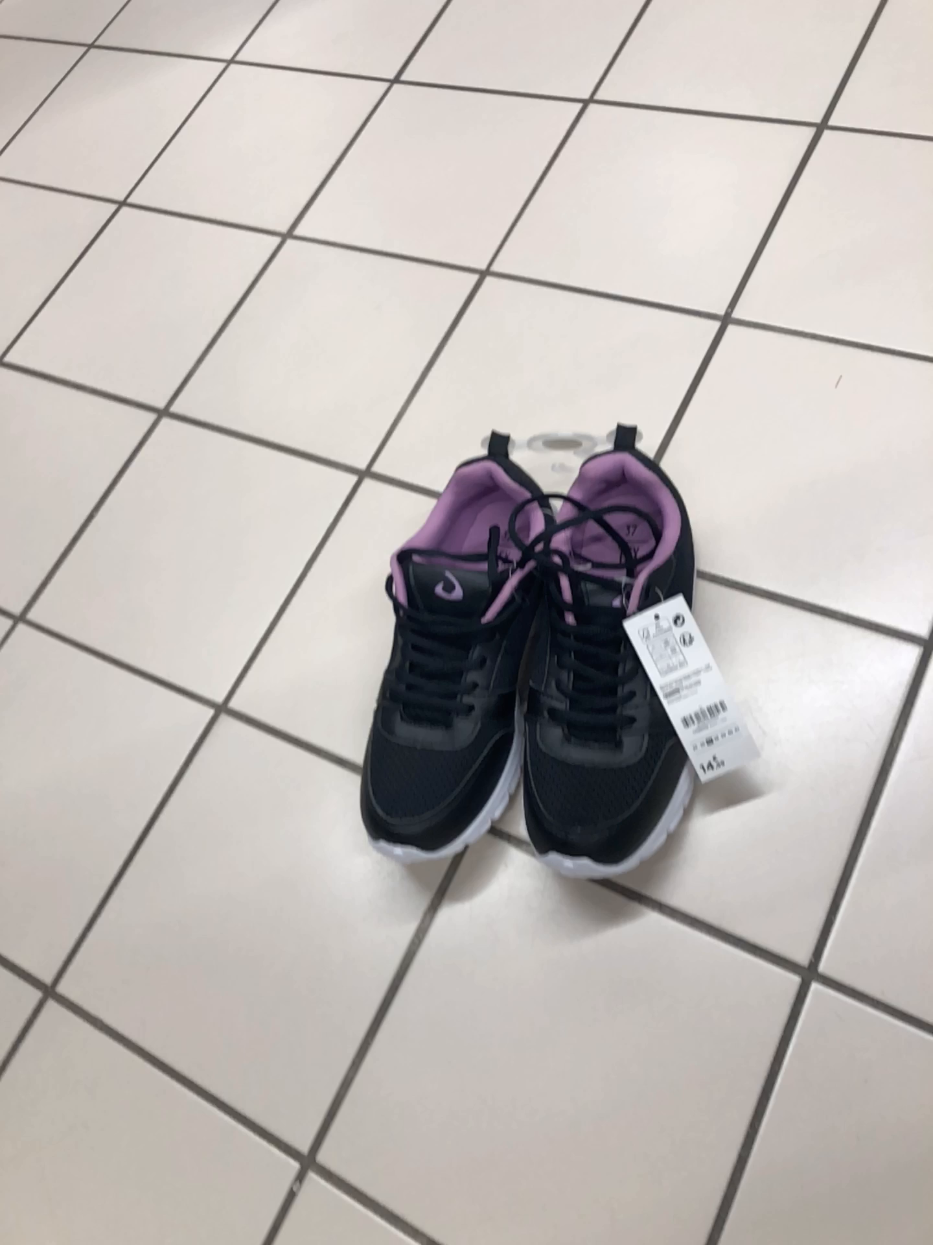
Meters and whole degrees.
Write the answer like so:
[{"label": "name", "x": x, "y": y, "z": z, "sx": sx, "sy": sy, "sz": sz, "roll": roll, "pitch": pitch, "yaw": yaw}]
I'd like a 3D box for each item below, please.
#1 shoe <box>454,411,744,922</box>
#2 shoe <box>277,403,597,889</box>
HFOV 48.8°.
[{"label": "shoe", "x": 0.083, "y": 0.018, "z": 0.576, "sx": 0.110, "sy": 0.090, "sz": 0.261, "roll": 7, "pitch": 65, "yaw": 15}, {"label": "shoe", "x": -0.006, "y": 0.006, "z": 0.599, "sx": 0.110, "sy": 0.090, "sz": 0.261, "roll": 5, "pitch": 65, "yaw": 18}]
